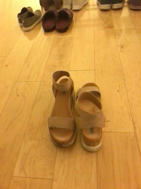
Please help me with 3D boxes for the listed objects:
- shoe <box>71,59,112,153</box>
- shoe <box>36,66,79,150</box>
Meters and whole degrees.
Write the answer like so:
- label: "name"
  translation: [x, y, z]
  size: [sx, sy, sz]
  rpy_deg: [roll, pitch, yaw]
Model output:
- label: "shoe"
  translation: [0.066, 0.028, 0.527]
  size: [0.100, 0.139, 0.292]
  rpy_deg: [-2, 49, 7]
- label: "shoe"
  translation: [-0.027, 0.040, 0.526]
  size: [0.100, 0.139, 0.252]
  rpy_deg: [-2, 49, 6]
